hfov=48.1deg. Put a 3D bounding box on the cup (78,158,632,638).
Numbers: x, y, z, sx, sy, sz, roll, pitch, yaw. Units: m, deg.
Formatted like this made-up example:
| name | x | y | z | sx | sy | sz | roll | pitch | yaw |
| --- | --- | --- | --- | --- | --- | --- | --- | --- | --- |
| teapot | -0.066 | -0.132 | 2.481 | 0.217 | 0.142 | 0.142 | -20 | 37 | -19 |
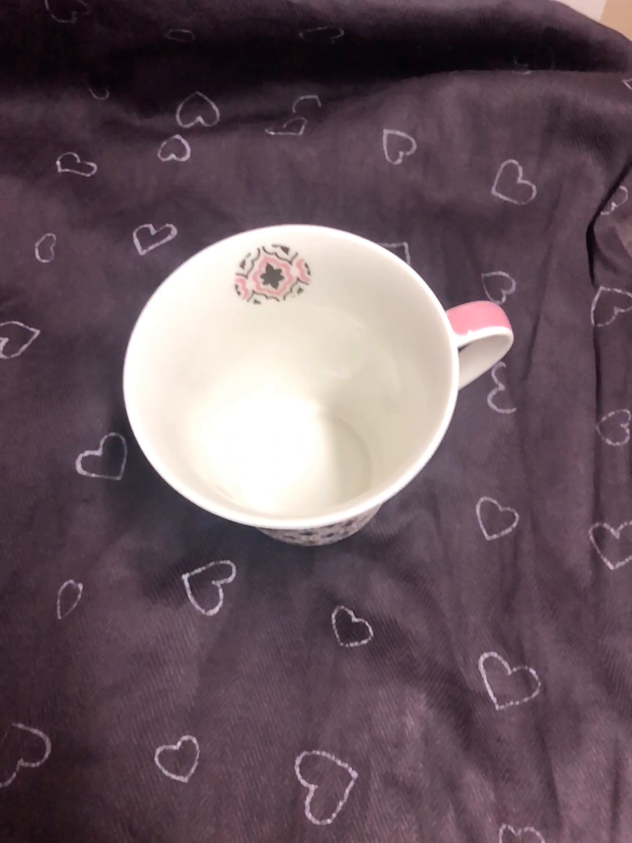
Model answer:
| name | x | y | z | sx | sy | sz | roll | pitch | yaw |
| --- | --- | --- | --- | --- | --- | --- | --- | --- | --- |
| cup | 0.007 | -0.004 | 0.223 | 0.120 | 0.080 | 0.090 | -20 | 67 | -8 |
